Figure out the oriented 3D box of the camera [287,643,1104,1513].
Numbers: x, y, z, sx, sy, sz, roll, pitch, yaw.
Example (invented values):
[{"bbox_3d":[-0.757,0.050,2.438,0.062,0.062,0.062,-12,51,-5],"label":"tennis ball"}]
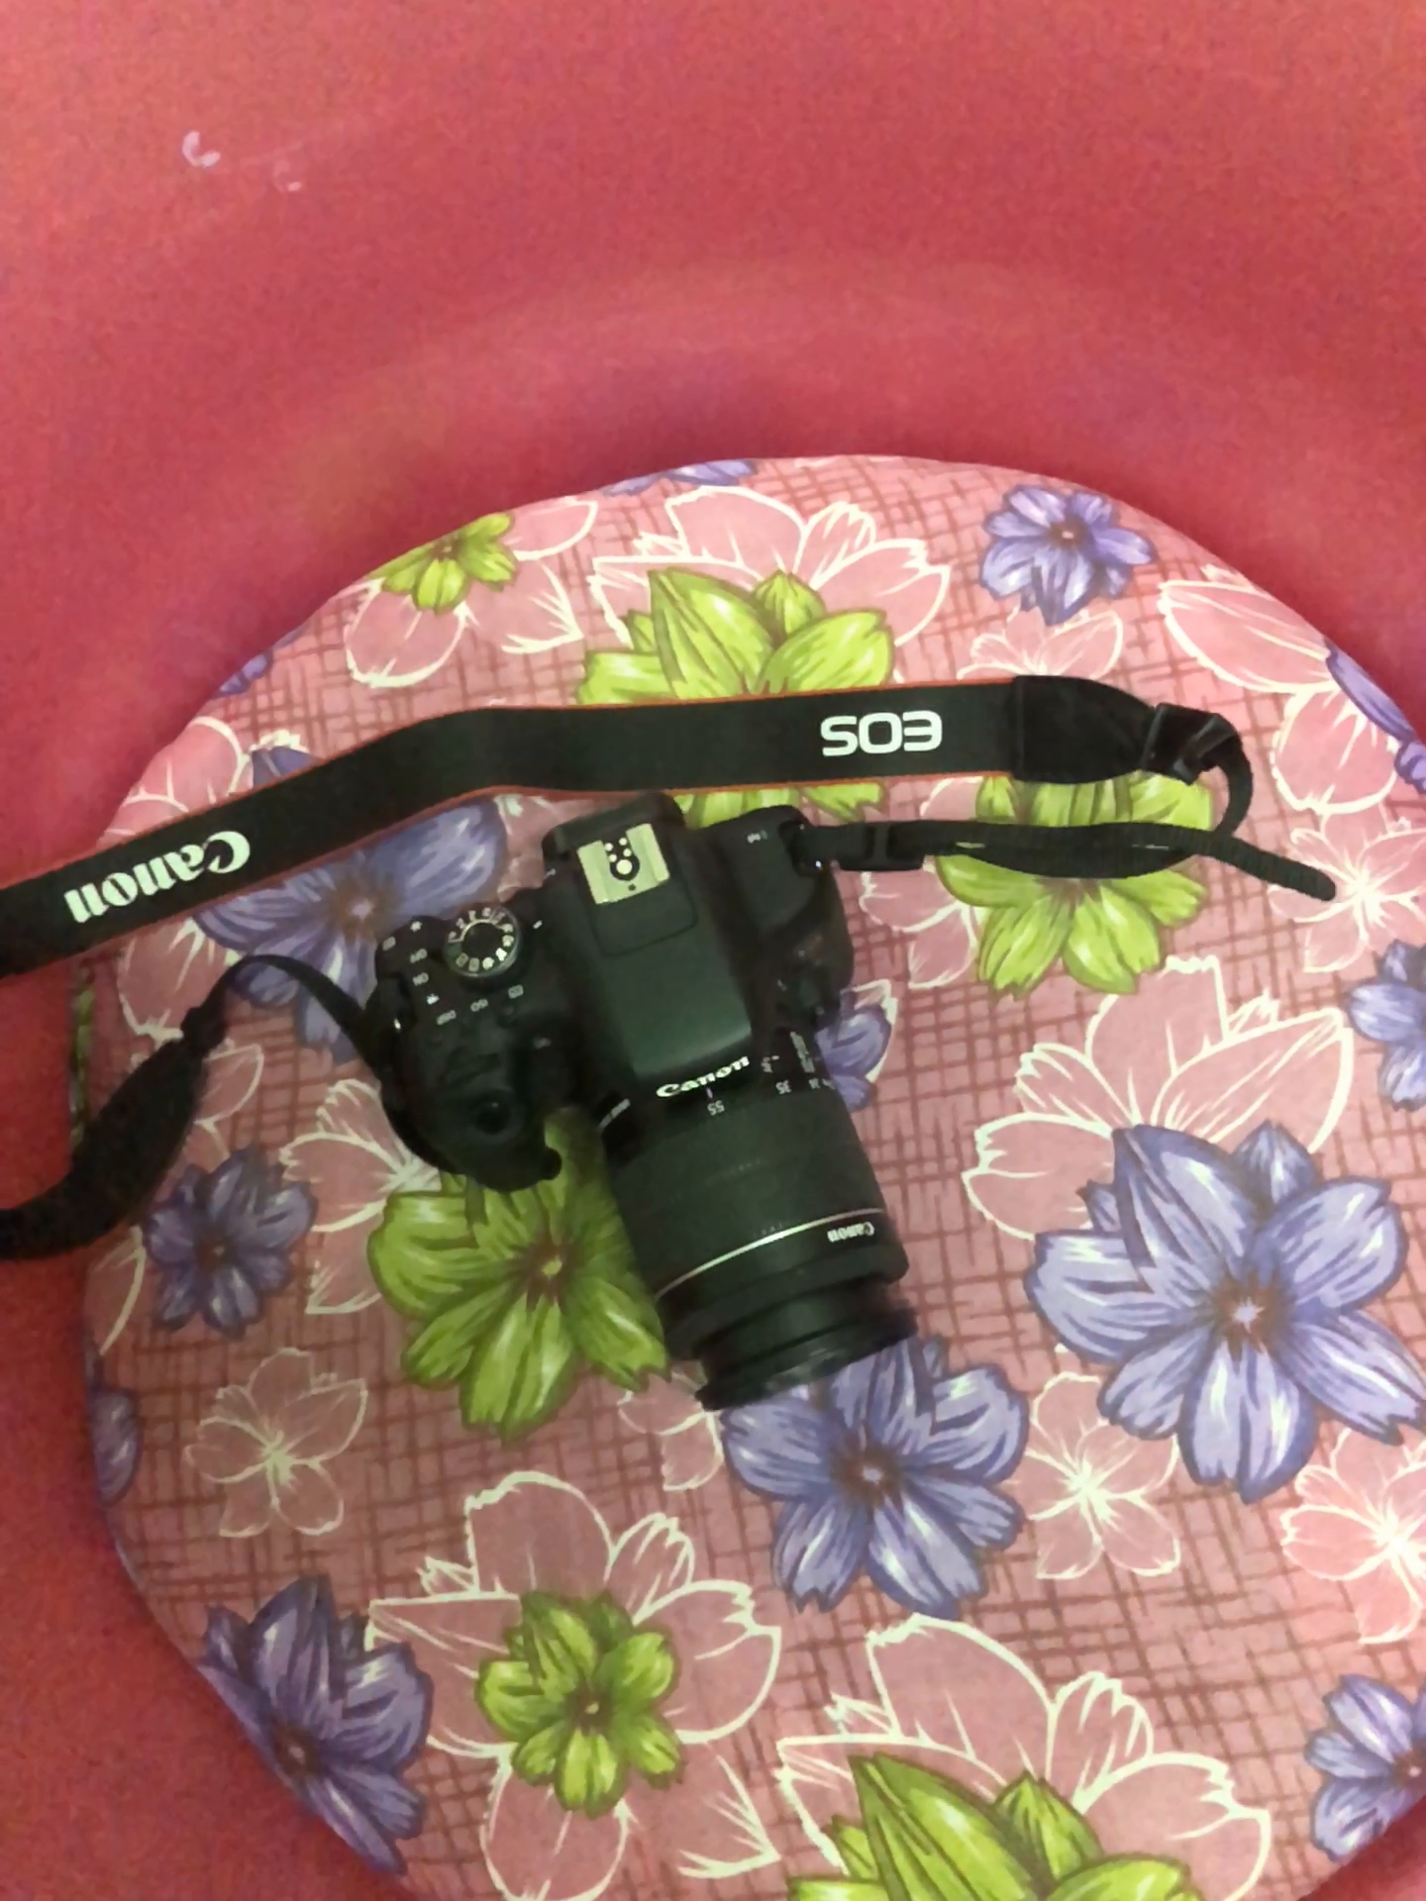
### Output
[{"bbox_3d":[-0.006,0.035,0.401,0.140,0.100,0.160,-20,73,-1],"label":"camera"}]
